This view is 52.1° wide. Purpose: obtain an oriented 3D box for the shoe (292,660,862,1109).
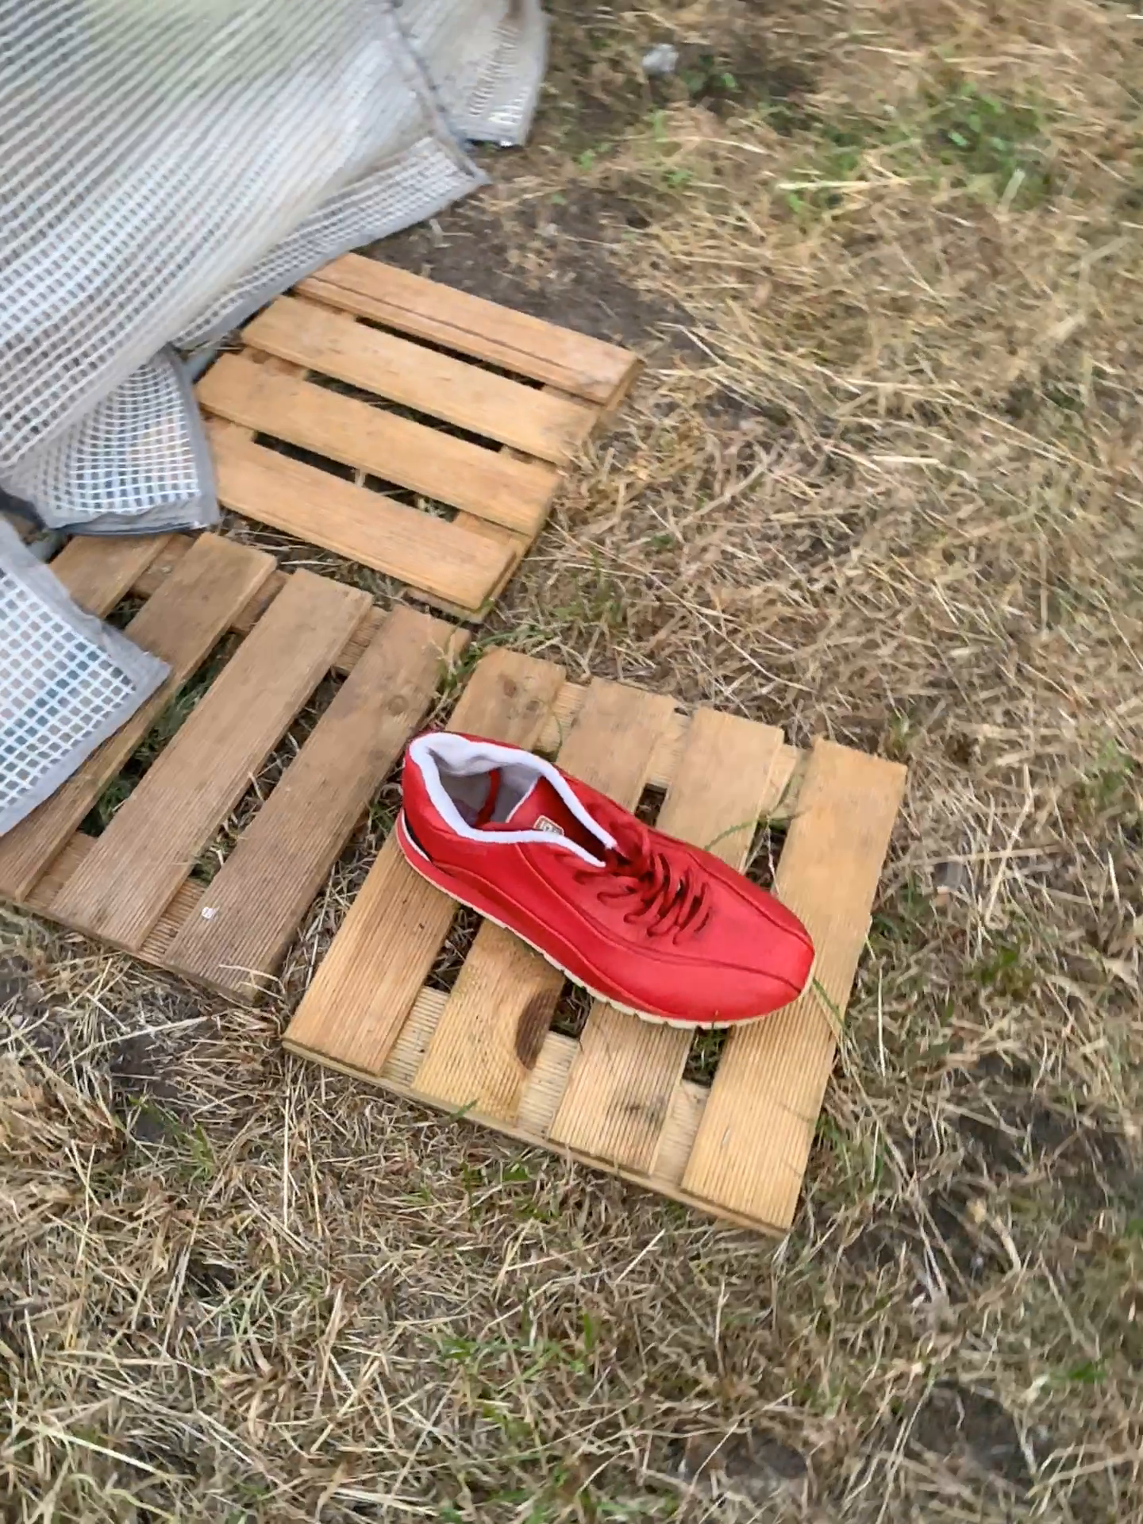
[{"bbox_3d":[0.003,0.065,0.653,0.281,0.129,0.101,22,61,20],"label":"shoe"}]
